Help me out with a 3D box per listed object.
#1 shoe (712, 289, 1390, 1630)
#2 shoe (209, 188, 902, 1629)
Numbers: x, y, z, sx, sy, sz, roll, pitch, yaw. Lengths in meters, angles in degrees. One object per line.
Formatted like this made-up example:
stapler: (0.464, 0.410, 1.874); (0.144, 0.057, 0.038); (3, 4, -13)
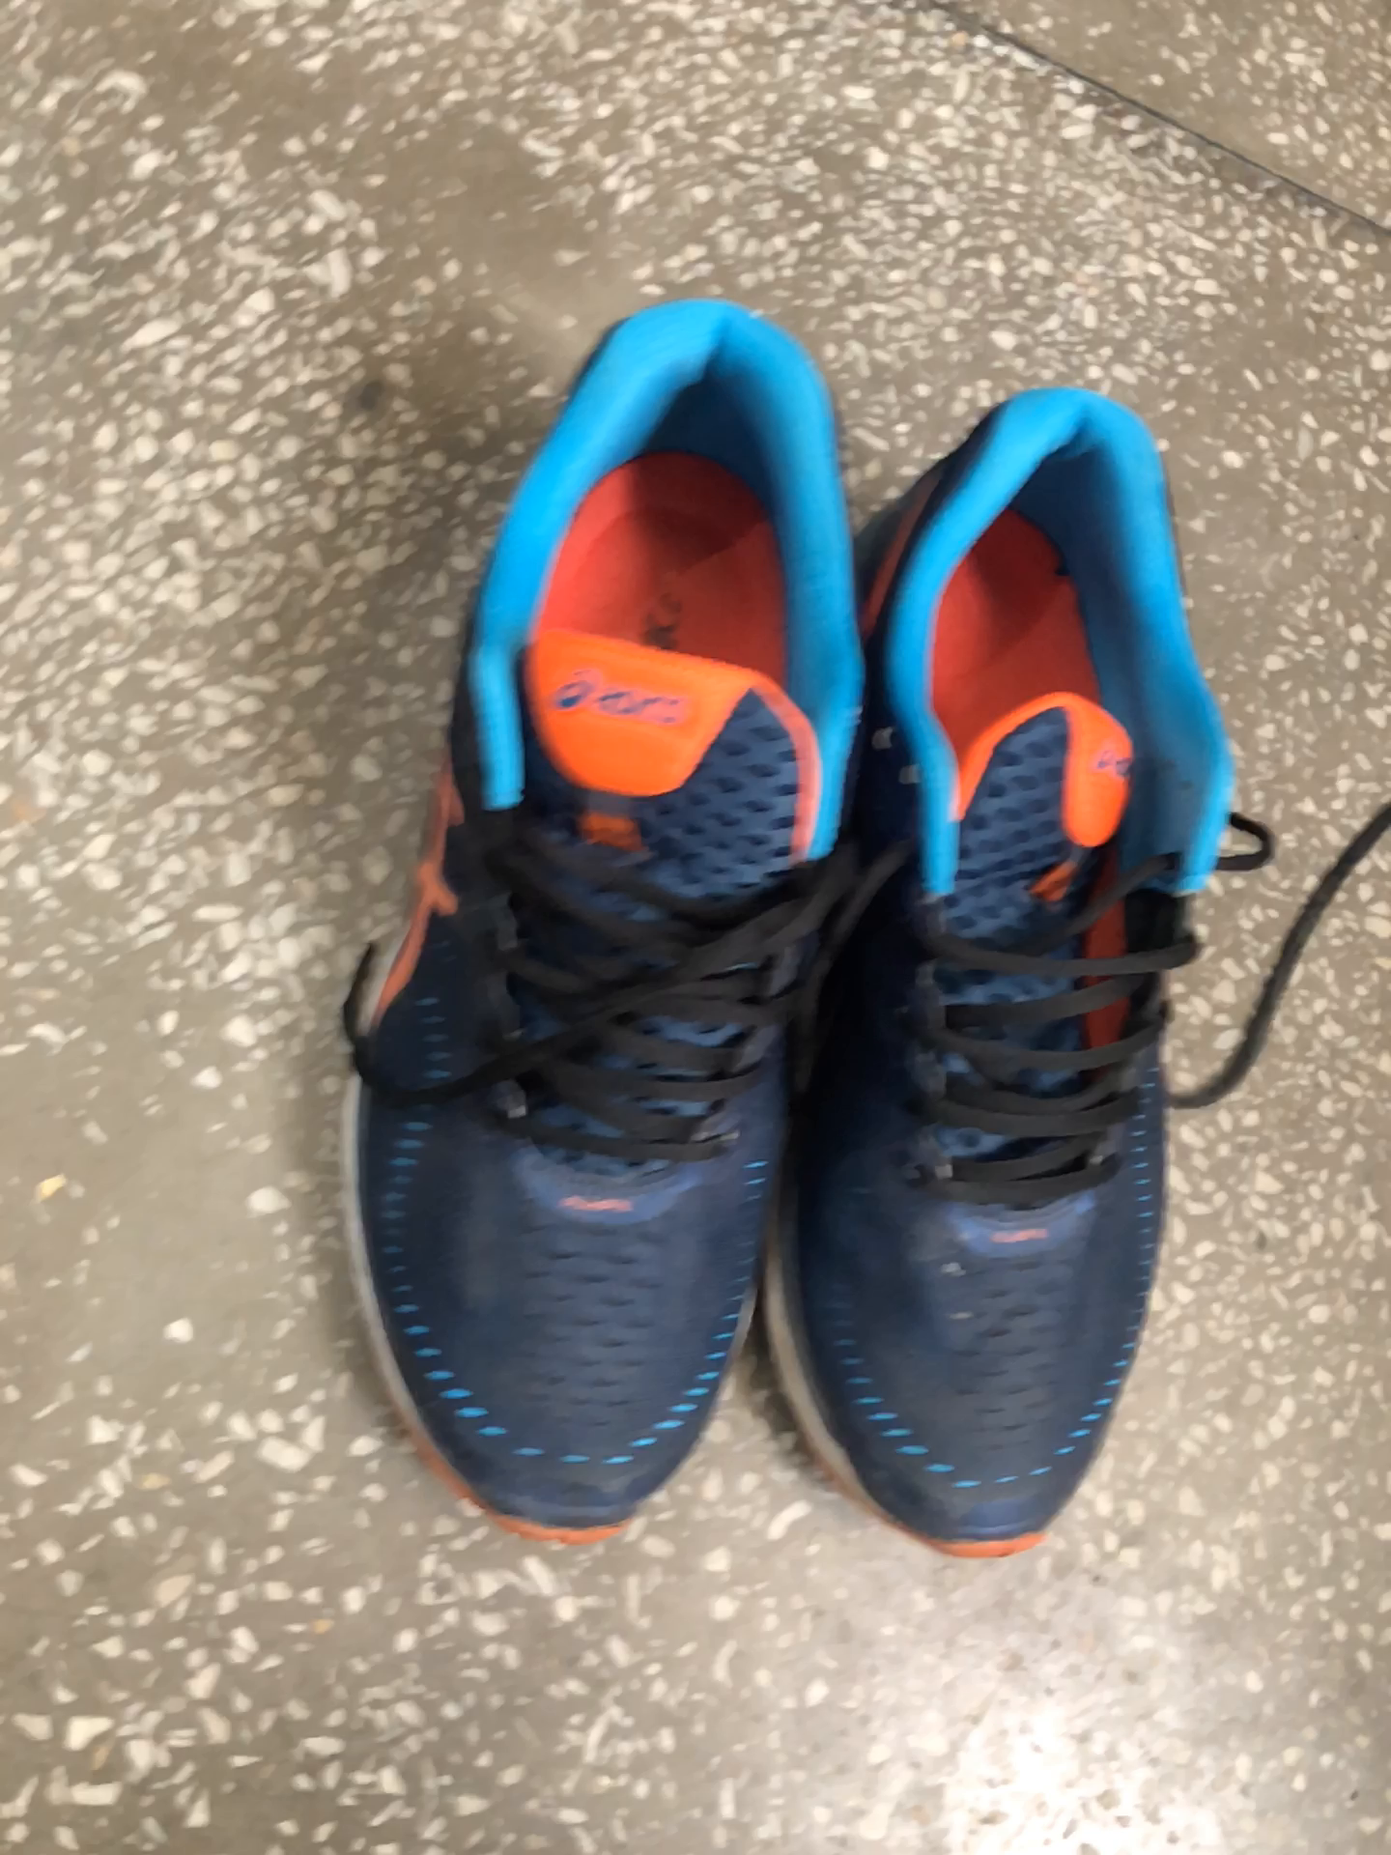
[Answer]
shoe: (0.077, 0.008, 0.384); (0.118, 0.100, 0.288); (5, 75, -13)
shoe: (-0.029, -0.003, 0.359); (0.118, 0.100, 0.288); (7, 75, -12)
